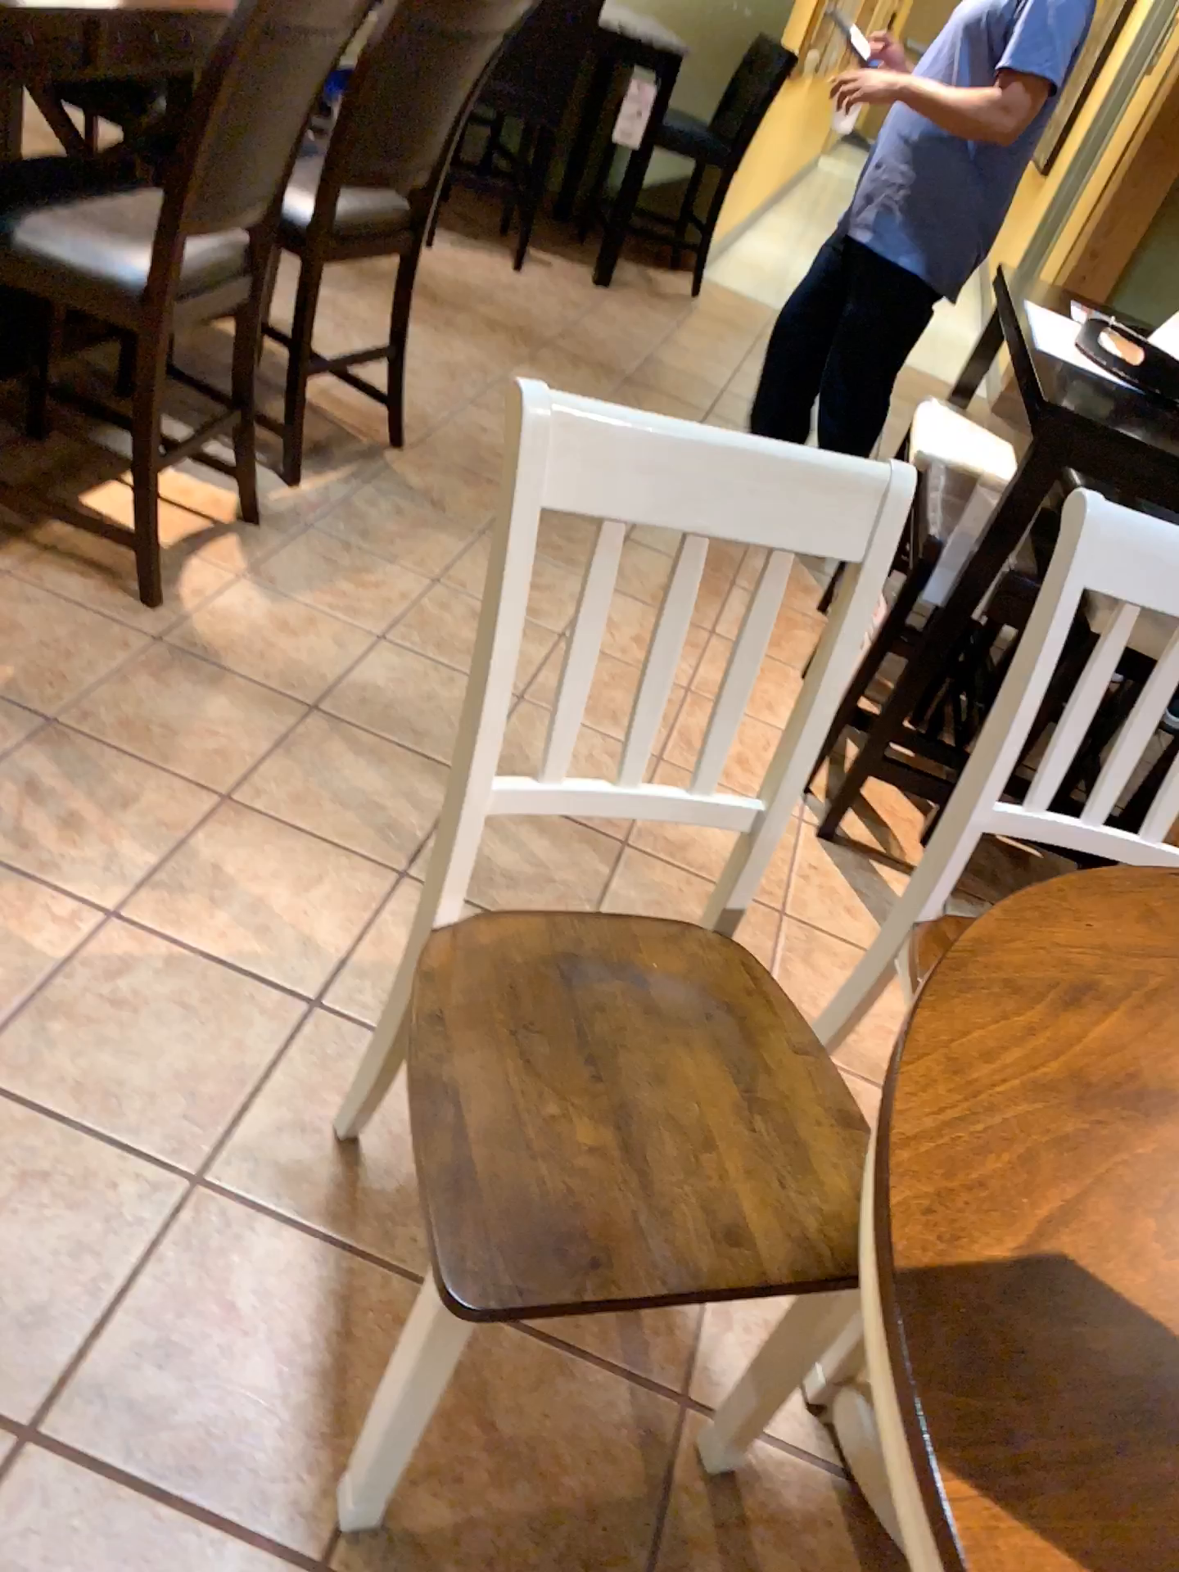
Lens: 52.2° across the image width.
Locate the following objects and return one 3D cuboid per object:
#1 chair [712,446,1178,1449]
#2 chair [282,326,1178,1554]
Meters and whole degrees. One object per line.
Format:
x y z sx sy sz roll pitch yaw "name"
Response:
0.583 0.216 1.389 0.490 0.901 0.635 12 36 -15 "chair"
0.042 0.171 1.149 0.490 0.891 0.635 6 38 -22 "chair"
